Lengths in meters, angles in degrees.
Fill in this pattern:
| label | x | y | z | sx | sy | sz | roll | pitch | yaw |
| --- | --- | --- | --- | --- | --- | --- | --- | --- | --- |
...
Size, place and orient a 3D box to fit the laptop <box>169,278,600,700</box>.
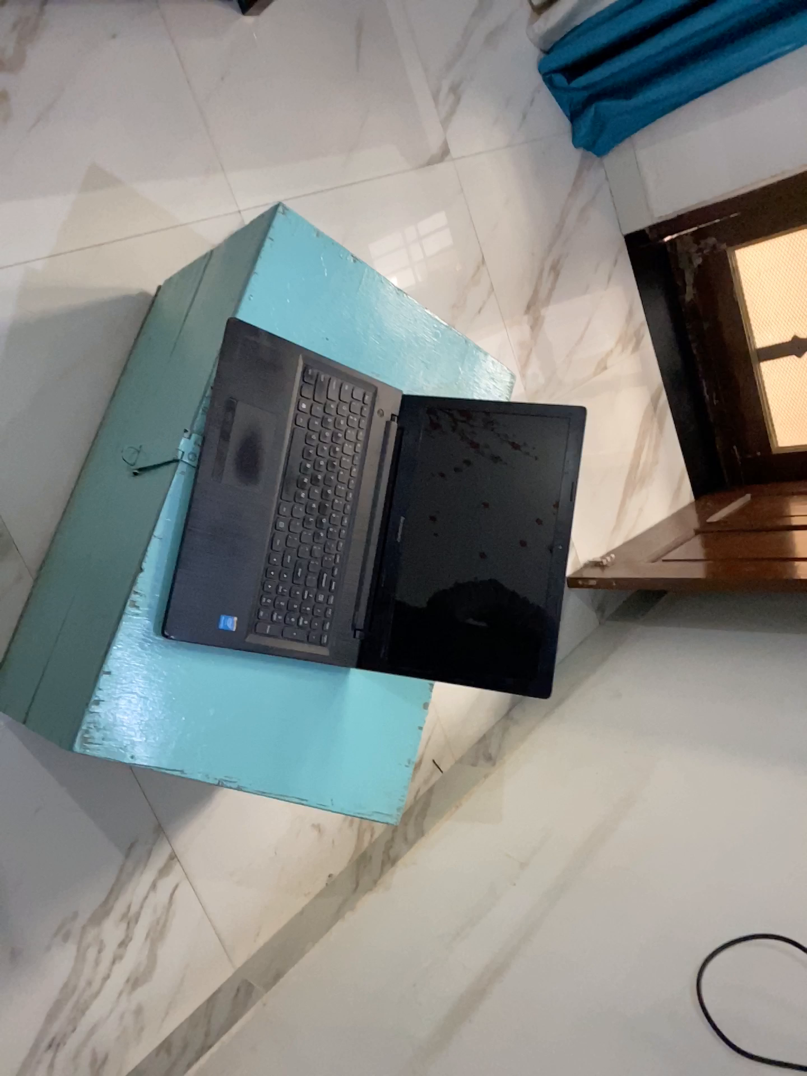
| label | x | y | z | sx | sy | sz | roll | pitch | yaw |
| --- | --- | --- | --- | --- | --- | --- | --- | --- | --- |
| laptop | -0.001 | -0.029 | 0.984 | 0.425 | 0.191 | 0.370 | 17 | 77 | -36 |
